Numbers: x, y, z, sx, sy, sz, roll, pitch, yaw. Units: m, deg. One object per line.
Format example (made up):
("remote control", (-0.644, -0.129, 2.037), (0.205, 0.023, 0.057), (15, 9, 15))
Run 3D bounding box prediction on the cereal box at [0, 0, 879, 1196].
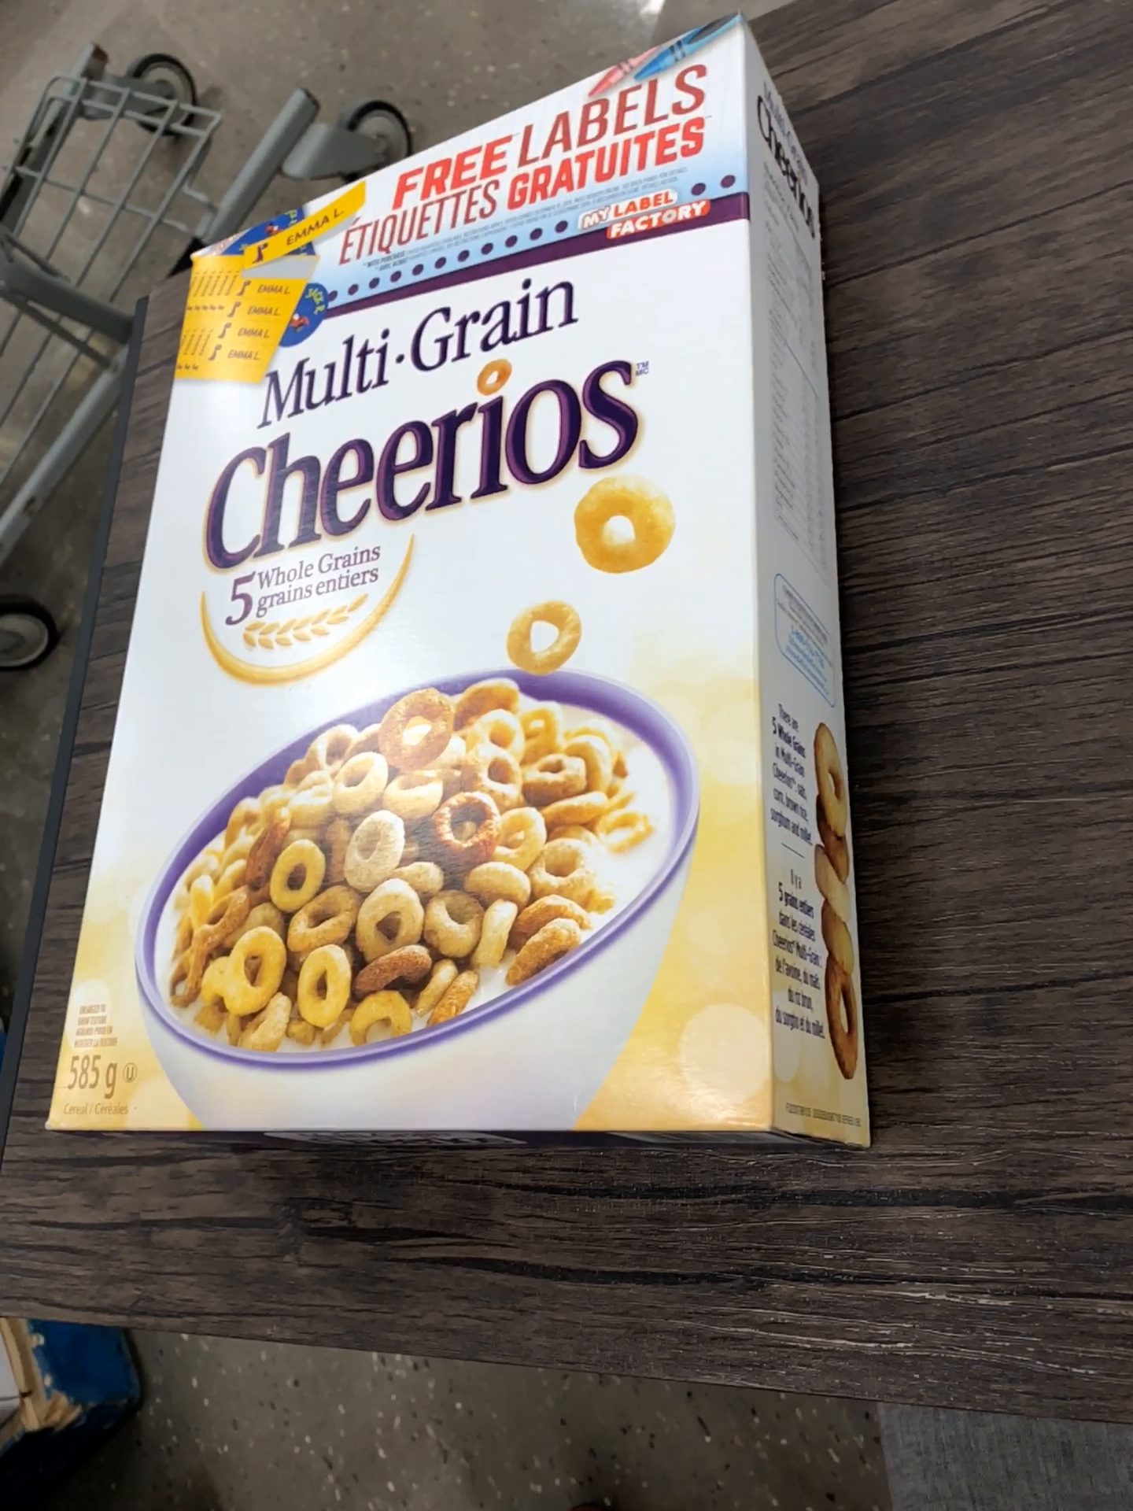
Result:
("cereal box", (-0.038, -0.044, 0.406), (0.251, 0.070, 0.340), (-9, 66, 28))
